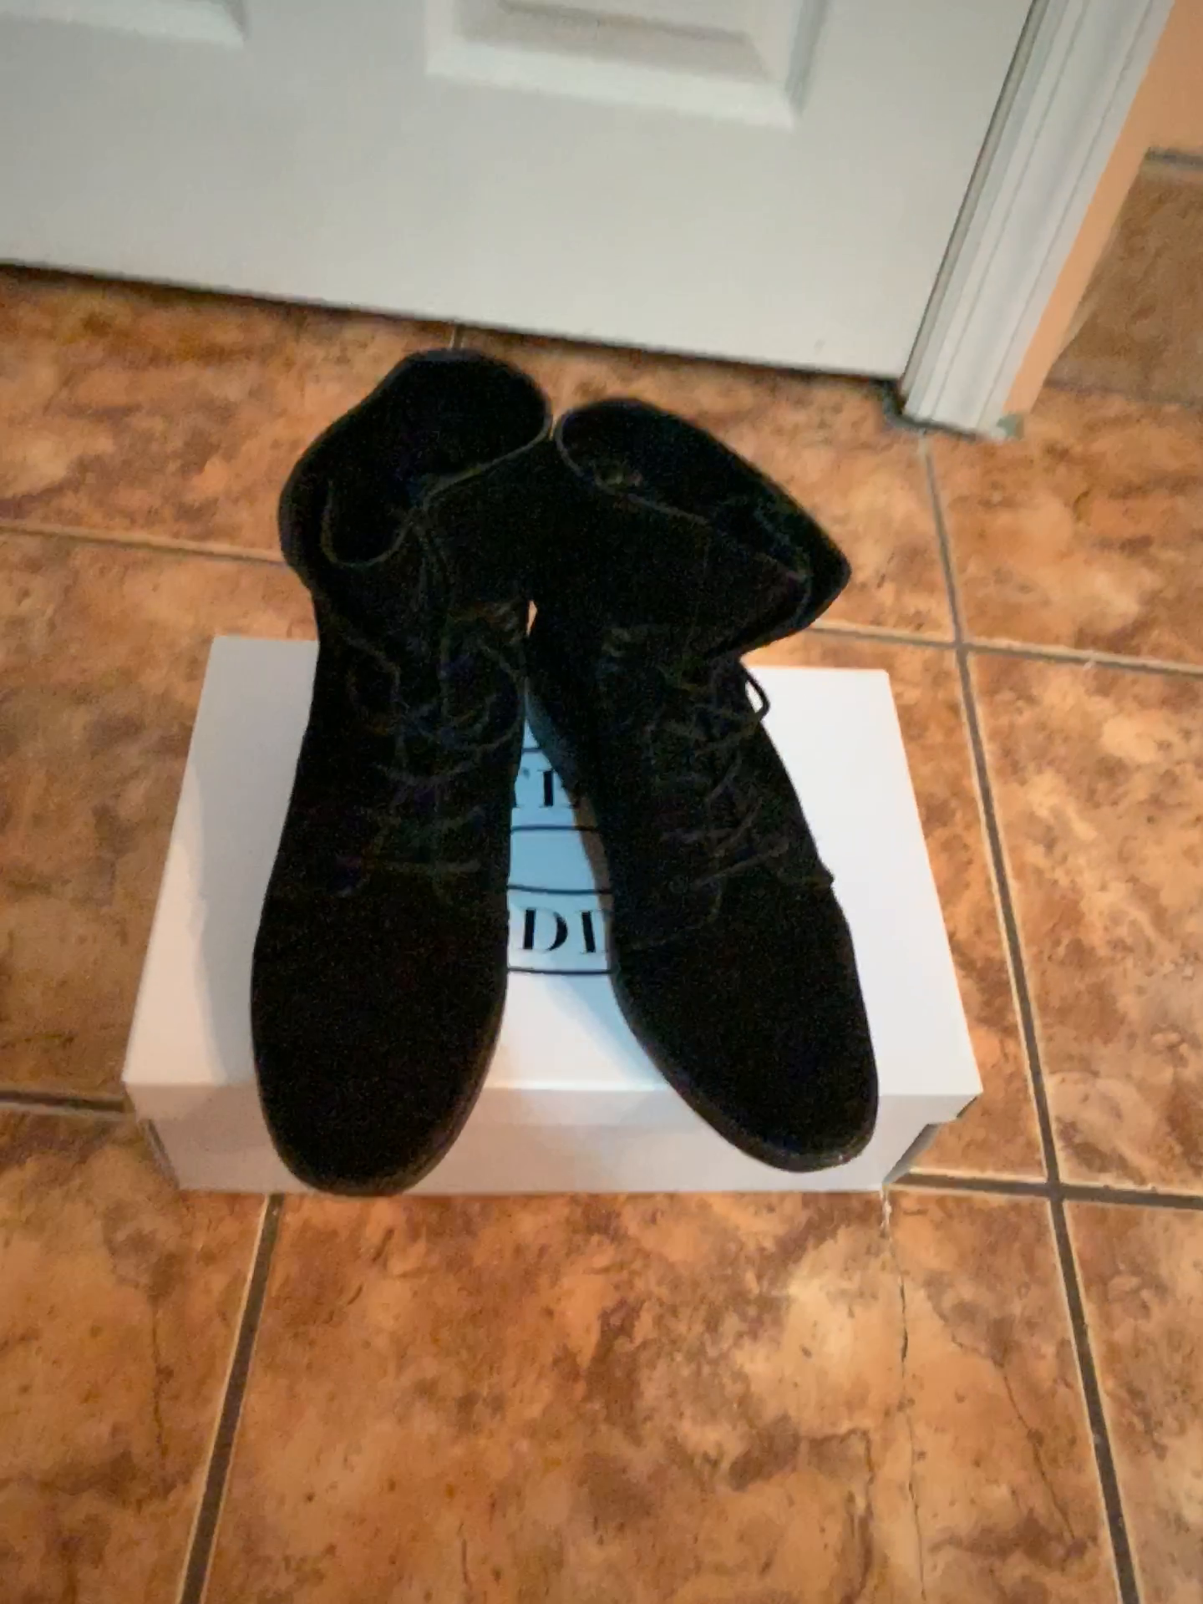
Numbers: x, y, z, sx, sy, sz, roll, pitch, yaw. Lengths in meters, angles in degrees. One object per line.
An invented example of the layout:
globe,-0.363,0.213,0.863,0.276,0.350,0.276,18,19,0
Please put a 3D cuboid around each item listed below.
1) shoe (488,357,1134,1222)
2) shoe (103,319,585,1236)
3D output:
shoe,0.044,-0.017,0.437,0.107,0.142,0.268,-8,53,-15
shoe,-0.066,-0.015,0.405,0.094,0.152,0.258,6,51,-5
